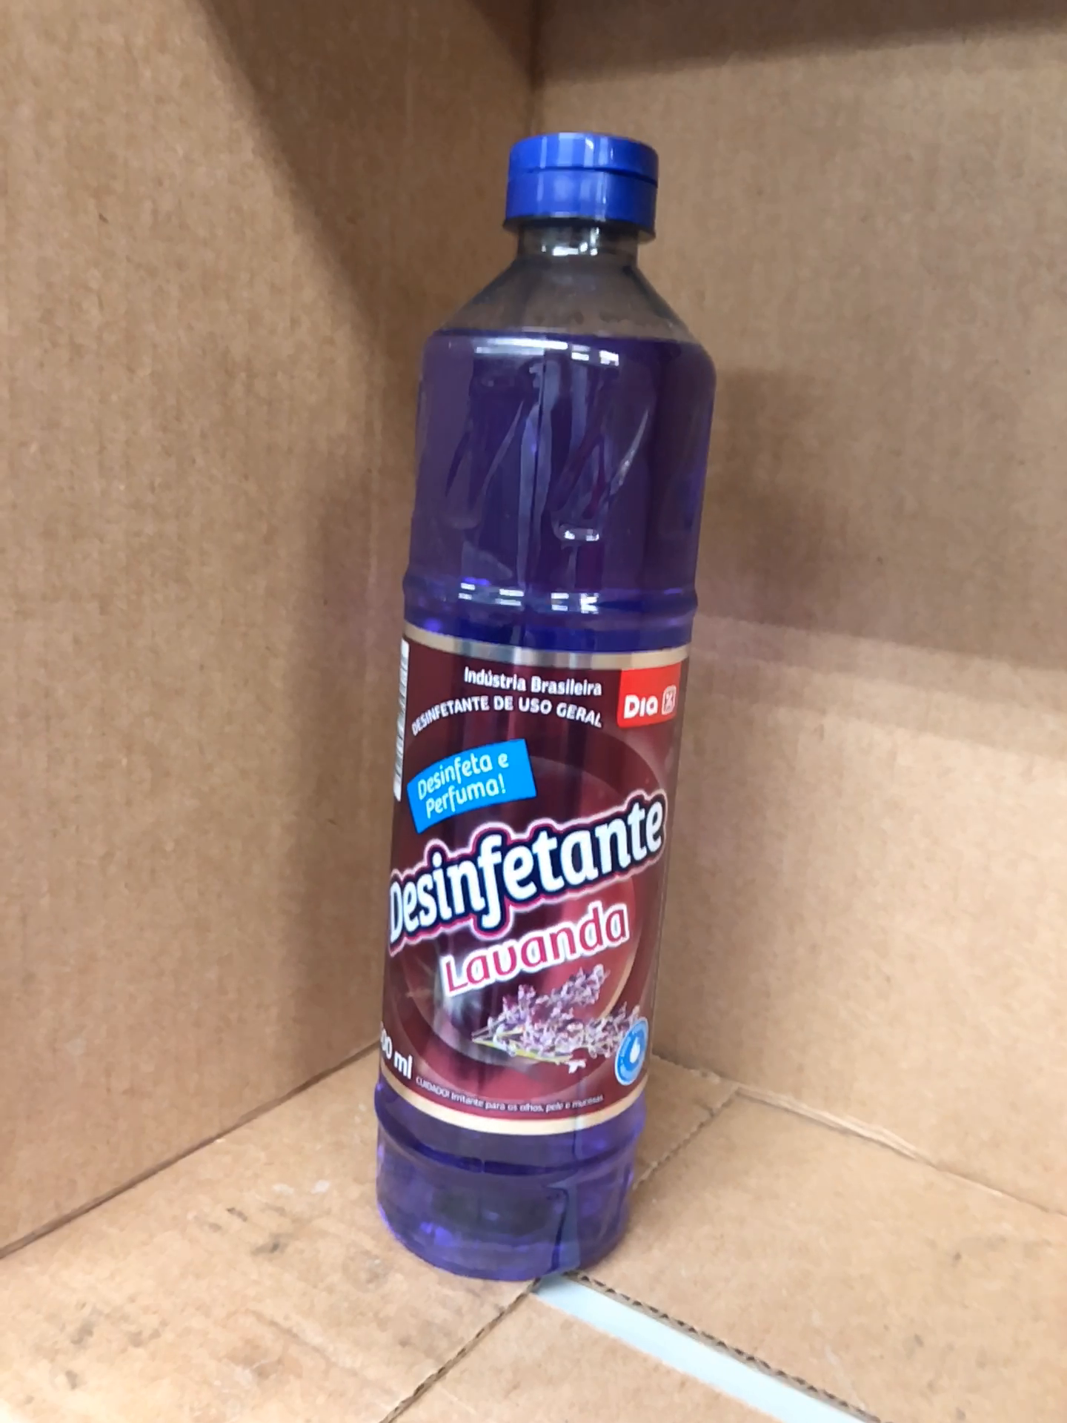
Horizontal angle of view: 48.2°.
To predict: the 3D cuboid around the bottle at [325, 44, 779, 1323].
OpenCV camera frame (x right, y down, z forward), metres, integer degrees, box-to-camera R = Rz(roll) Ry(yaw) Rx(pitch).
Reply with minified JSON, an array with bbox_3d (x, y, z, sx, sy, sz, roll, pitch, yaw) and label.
[{"bbox_3d":[0.001,0.000,0.257,0.070,0.239,0.070,3,13,-1],"label":"bottle"}]
